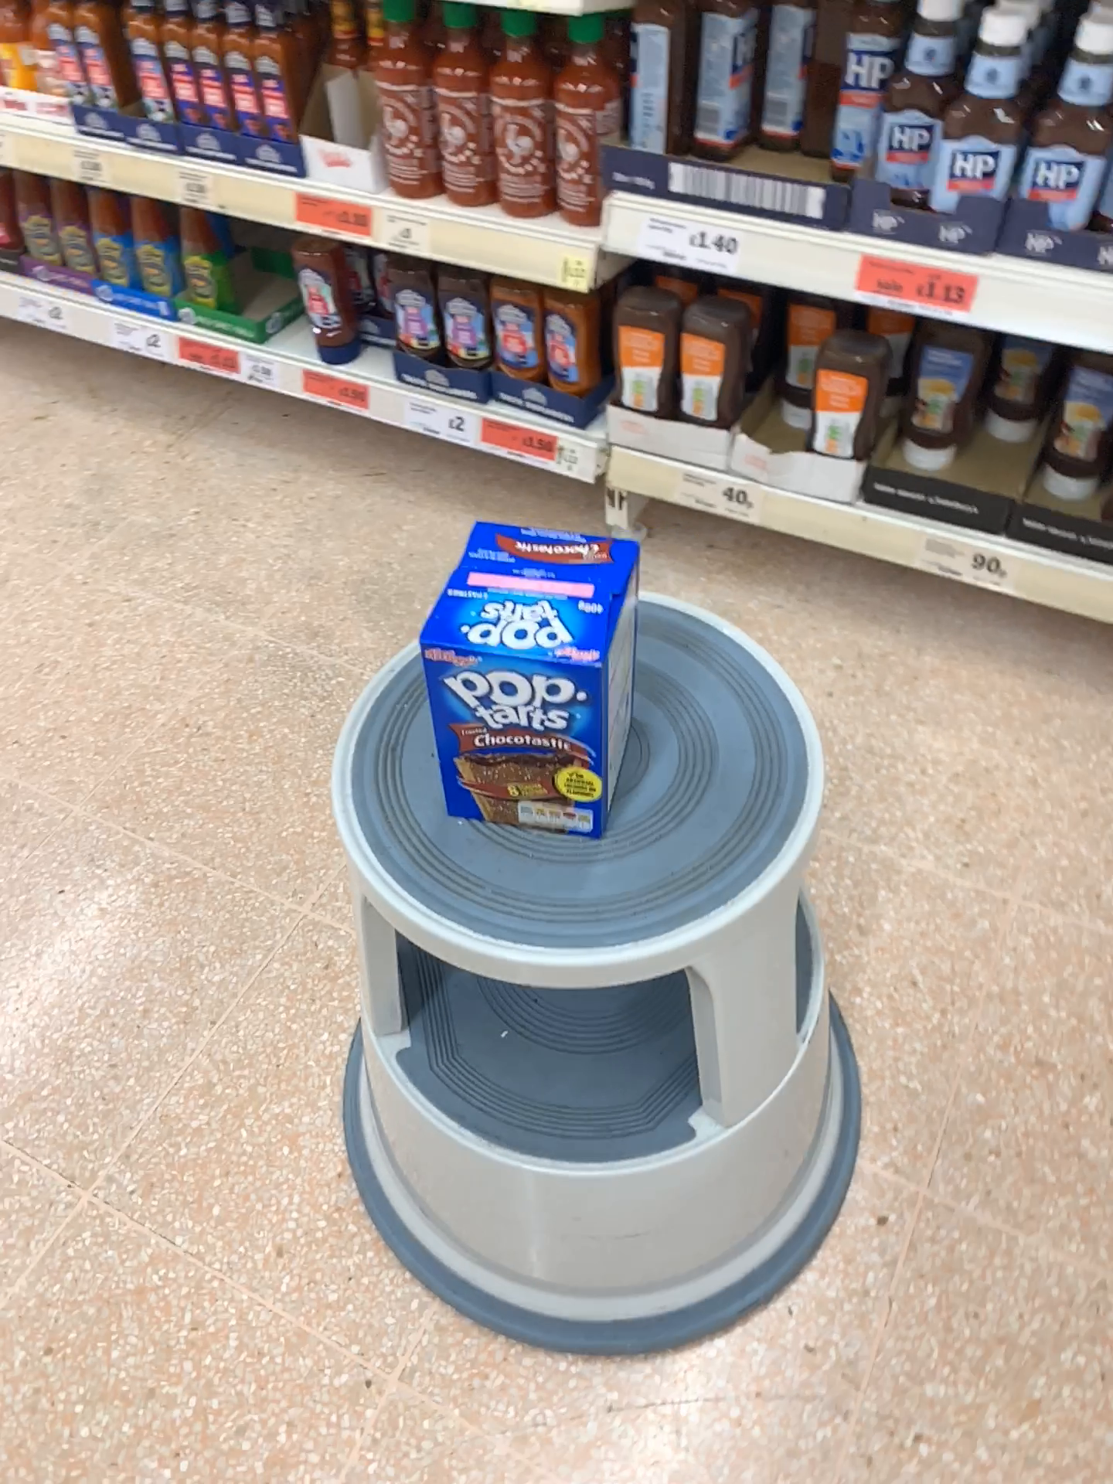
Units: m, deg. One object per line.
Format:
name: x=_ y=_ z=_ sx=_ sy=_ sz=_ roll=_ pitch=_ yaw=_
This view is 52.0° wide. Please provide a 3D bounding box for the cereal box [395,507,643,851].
cereal box: x=-0.013 y=-0.033 z=0.626 sx=0.100 sy=0.139 sz=0.111 roll=9 pitch=51 yaw=11
